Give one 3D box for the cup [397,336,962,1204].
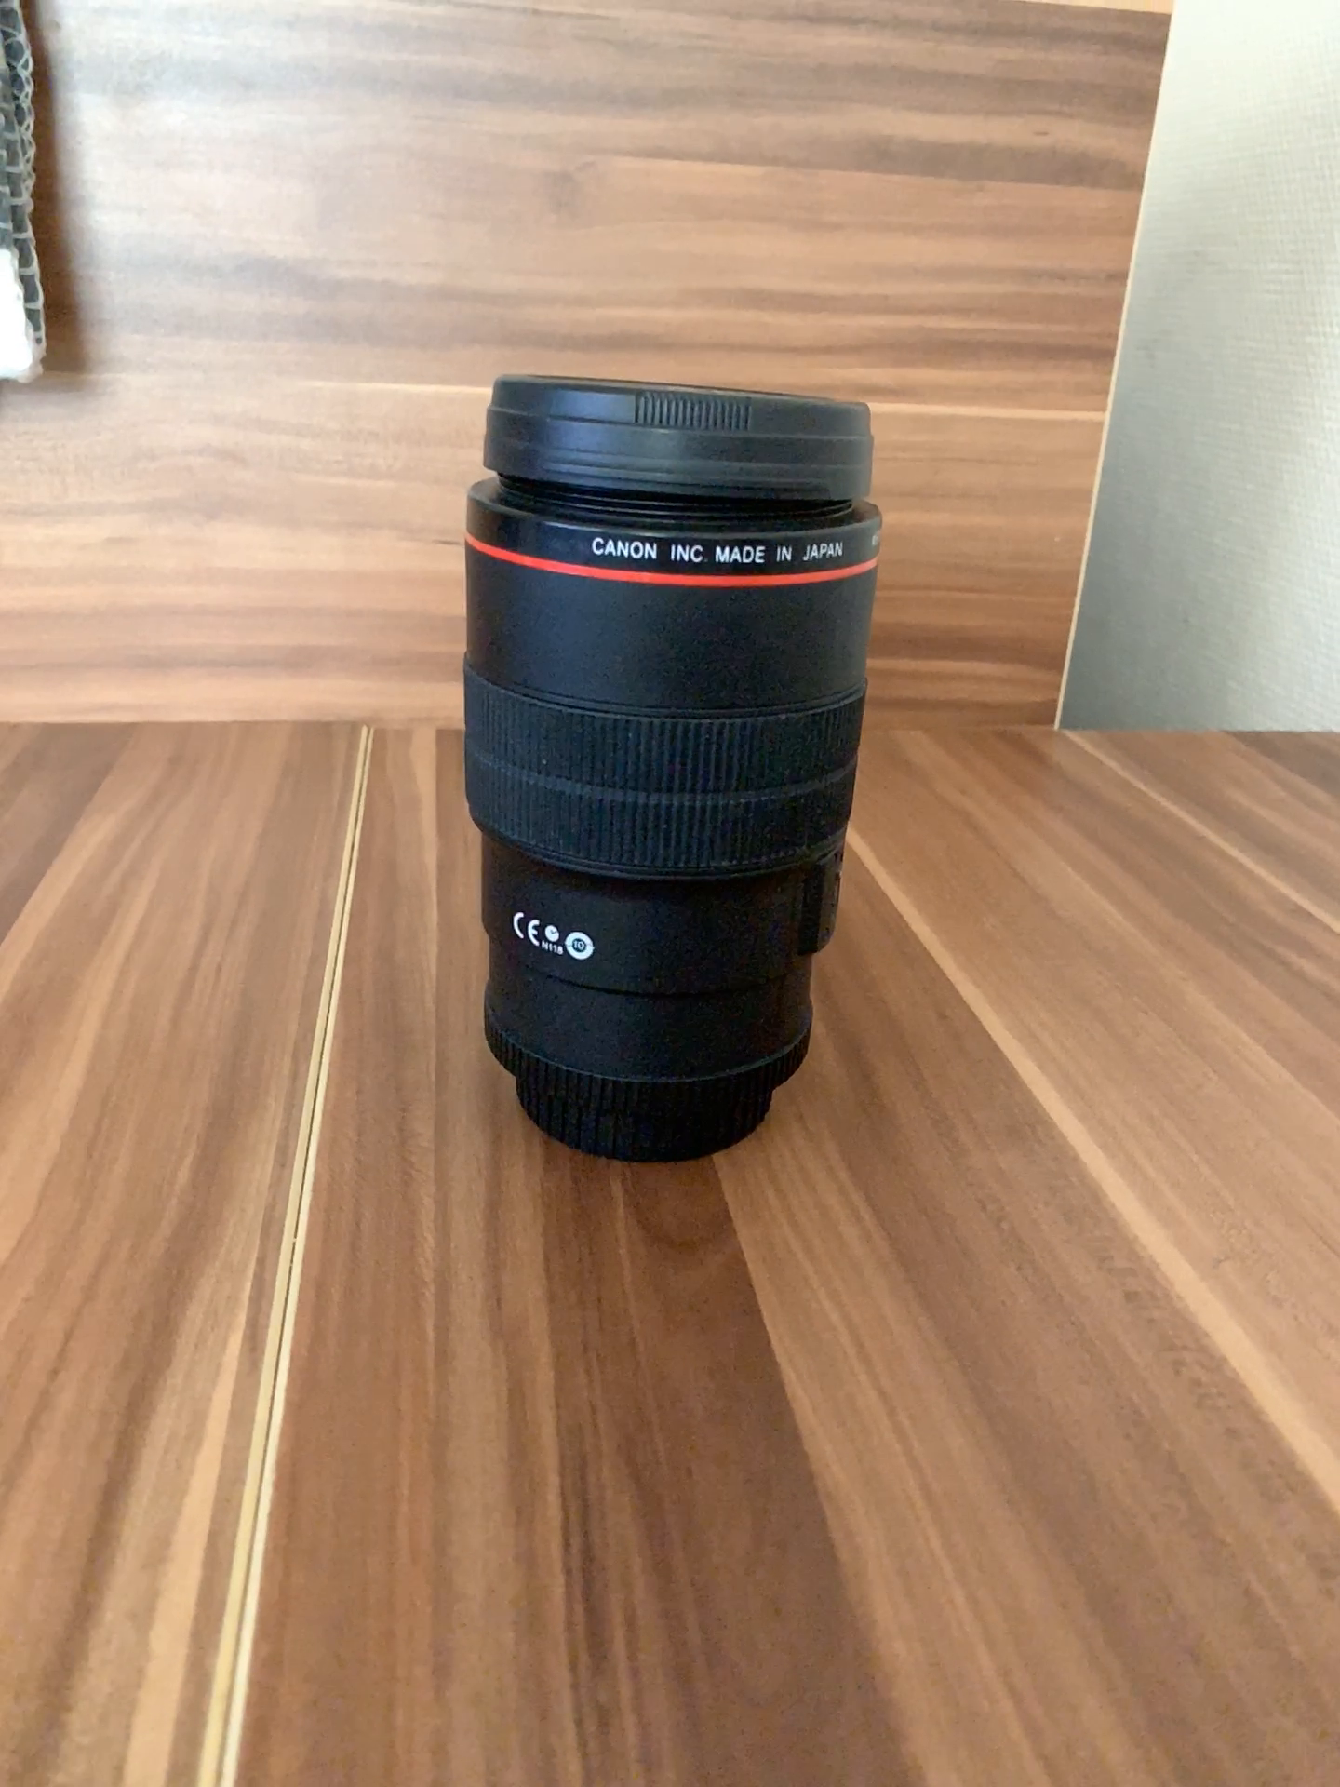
[{"bbox_3d":[-0.006,-0.029,0.266,0.070,0.139,0.080,-8,25,-24],"label":"cup"}]
